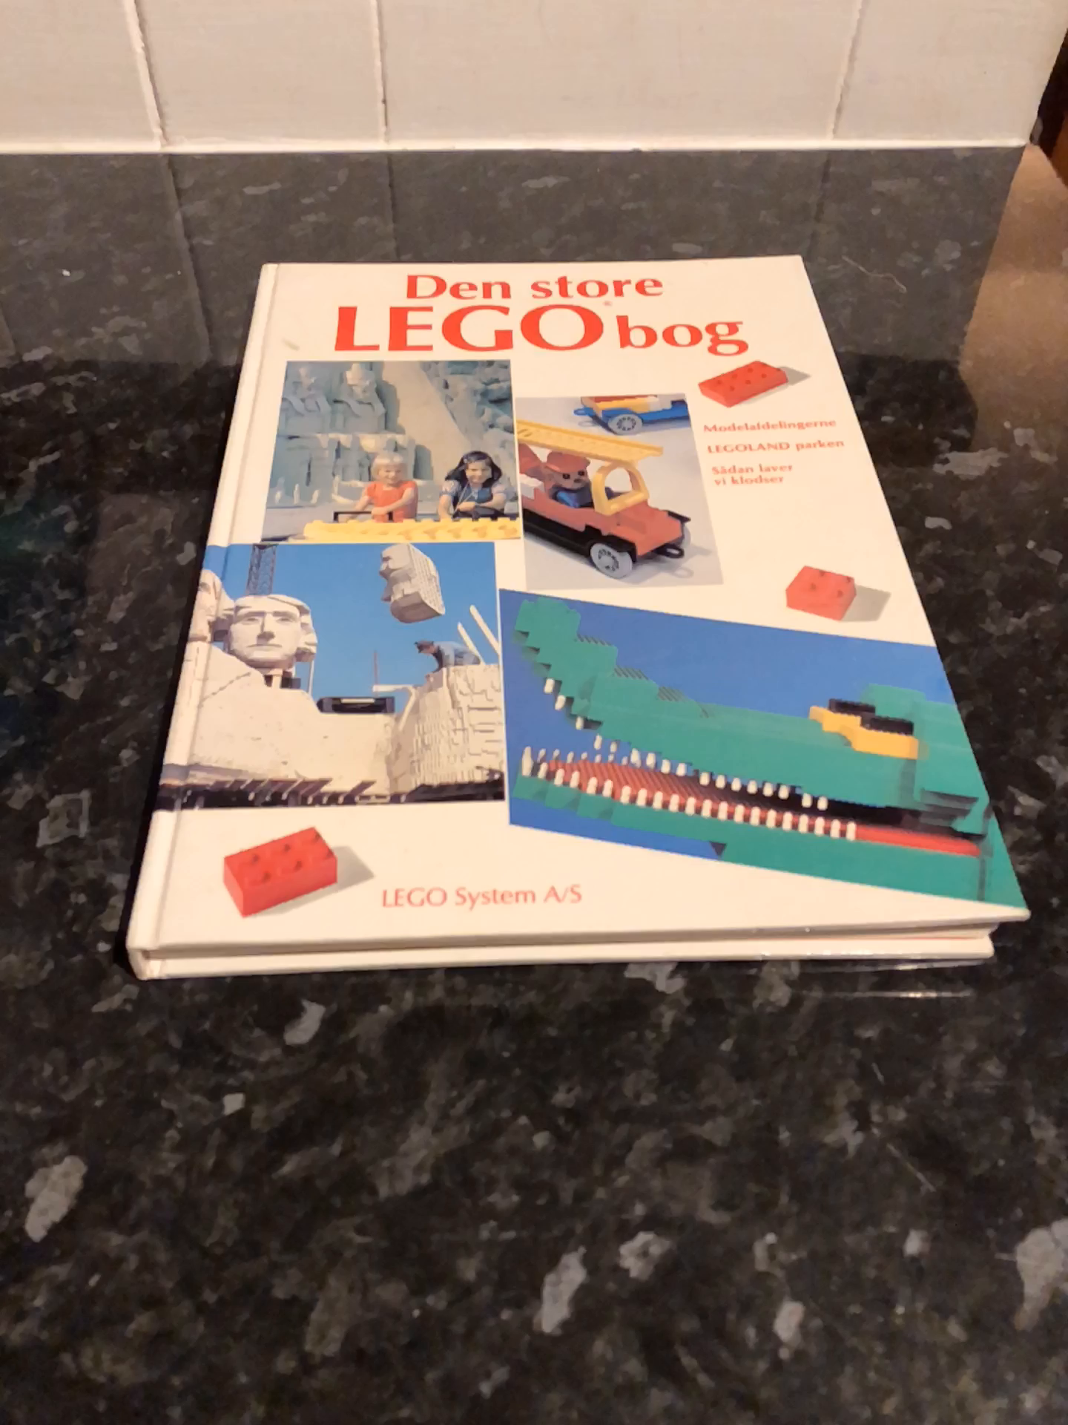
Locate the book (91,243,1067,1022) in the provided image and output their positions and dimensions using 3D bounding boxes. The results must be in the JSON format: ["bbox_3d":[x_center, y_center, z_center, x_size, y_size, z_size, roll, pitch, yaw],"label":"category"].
[{"bbox_3d":[0.005,-0.053,0.355,0.210,0.030,0.292,-1,50,-3],"label":"book"}]
